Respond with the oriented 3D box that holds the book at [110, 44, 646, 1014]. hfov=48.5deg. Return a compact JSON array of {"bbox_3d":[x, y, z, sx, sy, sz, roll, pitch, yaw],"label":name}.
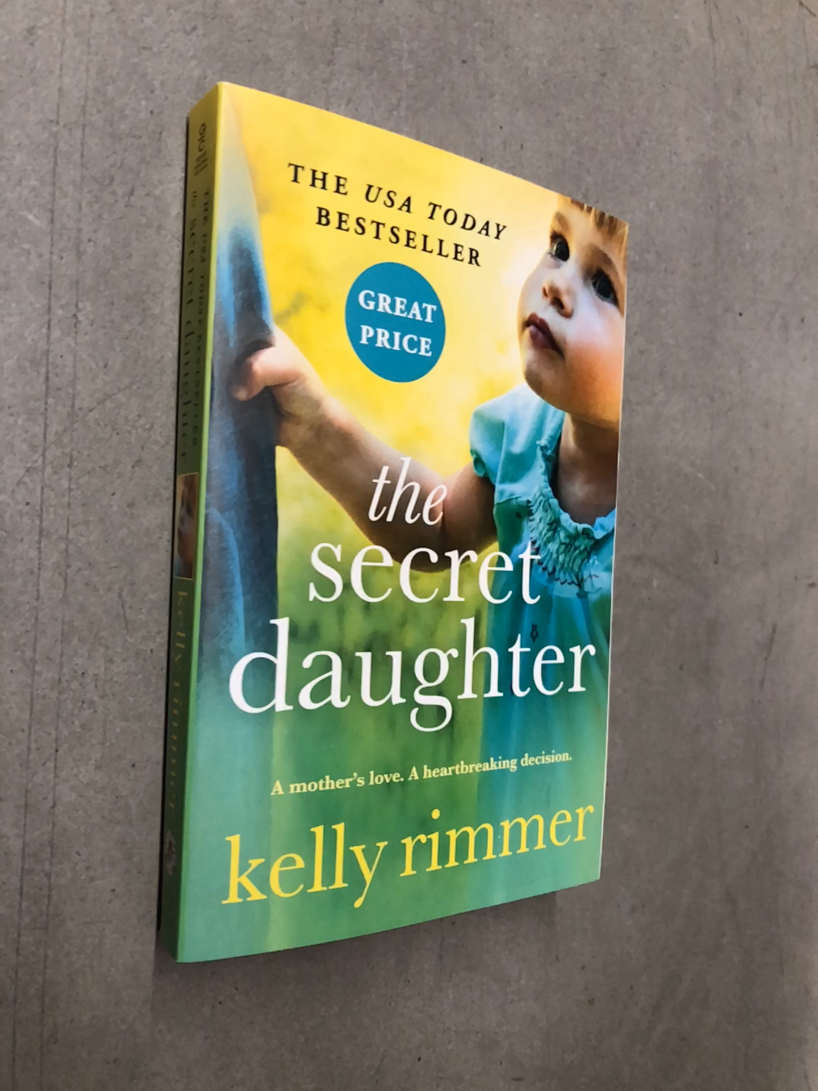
[{"bbox_3d":[0.000,-0.001,0.248,0.140,0.030,0.210,3,89,-33],"label":"book"}]
